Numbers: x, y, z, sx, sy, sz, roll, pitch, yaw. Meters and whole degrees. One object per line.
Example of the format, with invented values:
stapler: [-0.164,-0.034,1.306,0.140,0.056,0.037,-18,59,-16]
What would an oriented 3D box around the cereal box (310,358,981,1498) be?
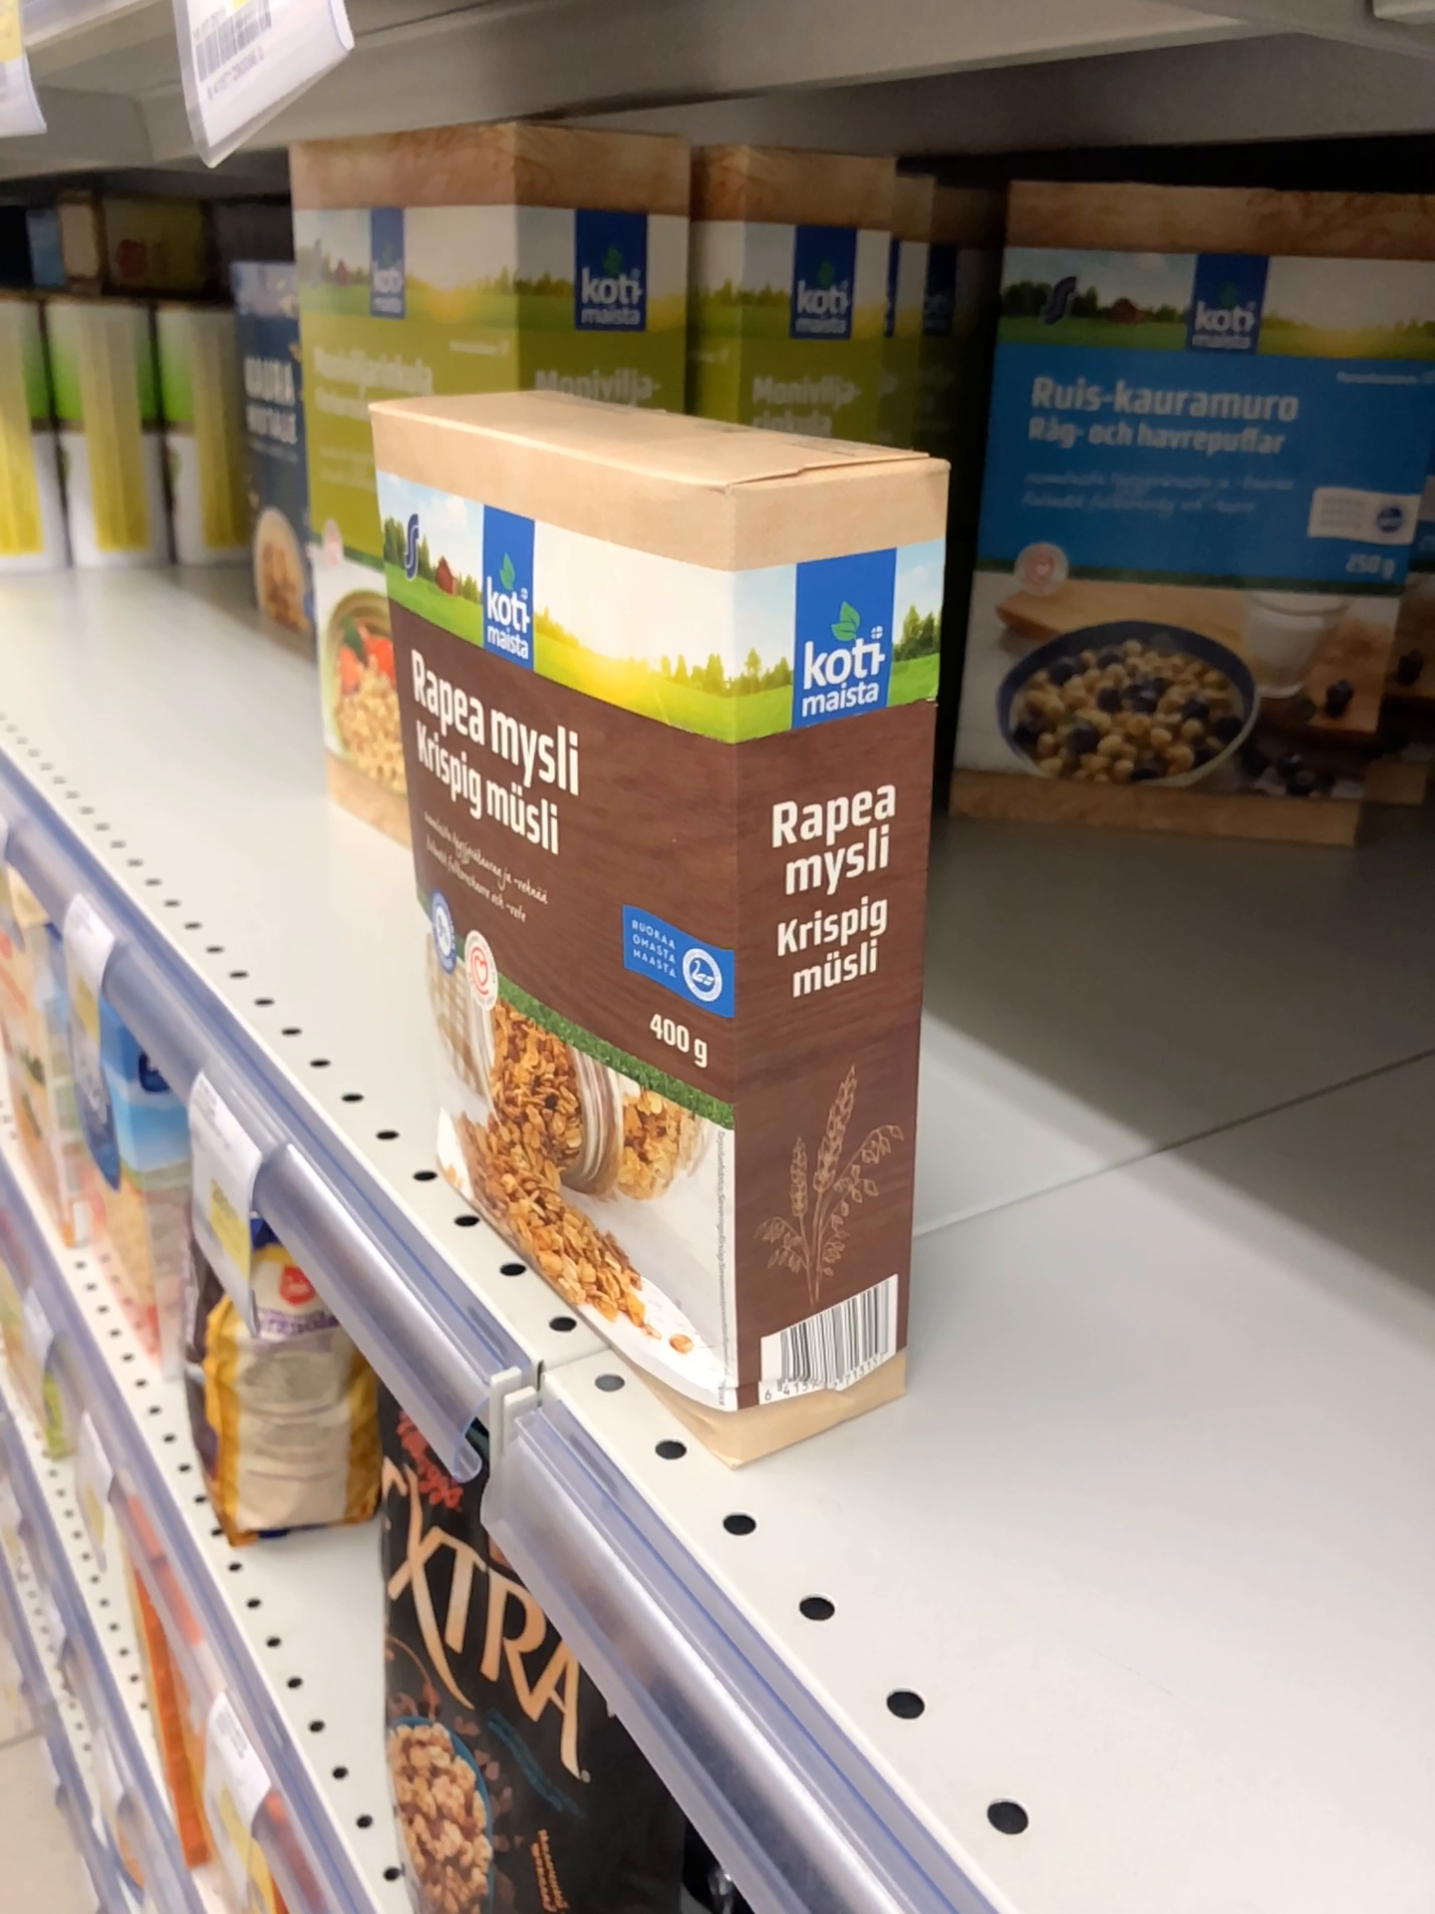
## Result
cereal box: [-0.022,-0.018,0.328,0.050,0.189,0.150,-15,28,-31]
